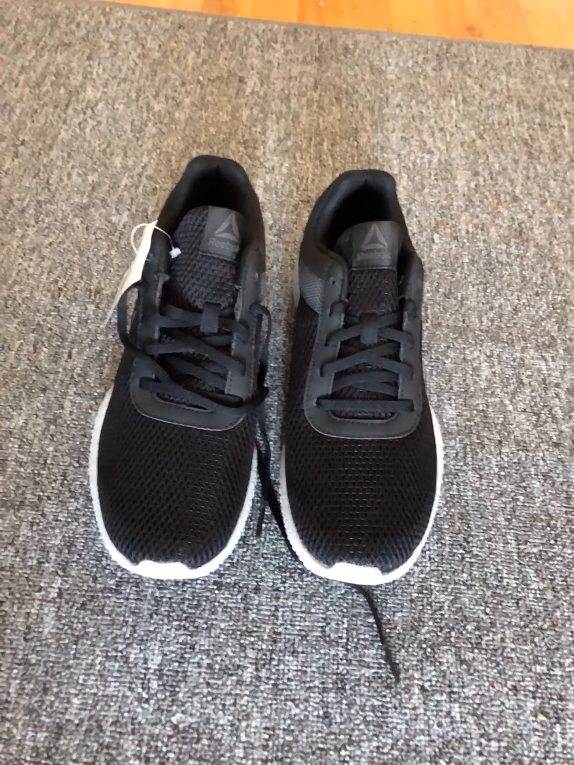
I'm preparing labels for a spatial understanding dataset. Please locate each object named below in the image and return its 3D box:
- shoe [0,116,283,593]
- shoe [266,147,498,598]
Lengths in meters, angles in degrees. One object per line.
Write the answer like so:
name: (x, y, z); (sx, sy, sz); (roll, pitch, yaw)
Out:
shoe: (-0.071, -0.034, 0.411); (0.116, 0.099, 0.302); (4, 56, -2)
shoe: (0.048, -0.021, 0.435); (0.110, 0.099, 0.302); (3, 56, -3)
